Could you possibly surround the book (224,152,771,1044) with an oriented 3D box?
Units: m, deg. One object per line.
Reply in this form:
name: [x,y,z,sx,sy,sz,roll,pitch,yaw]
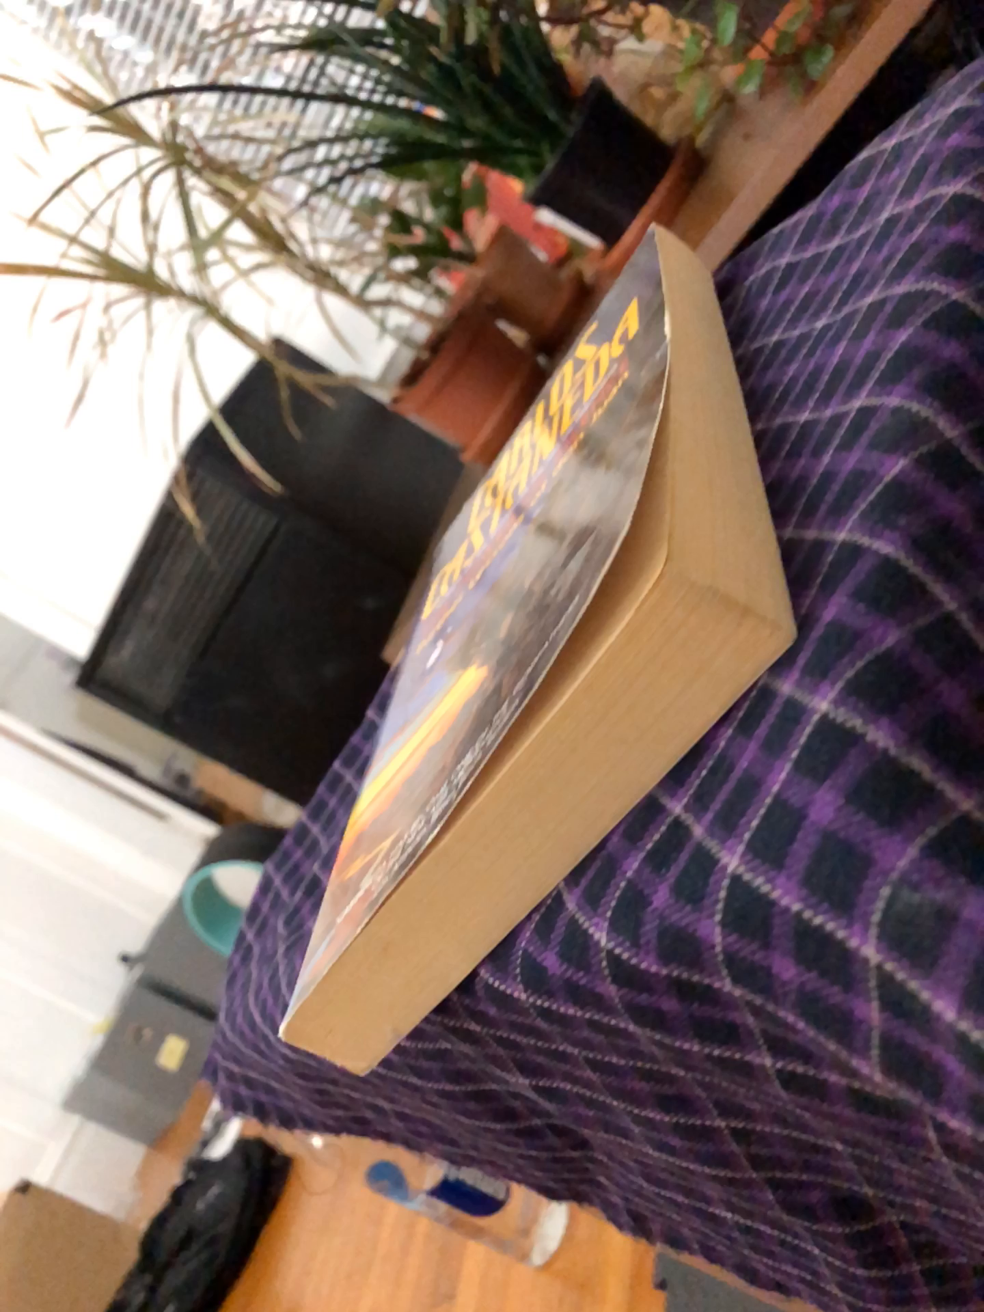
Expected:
book: [0.004,-0.034,0.283,0.150,0.020,0.221,-52,15,32]
